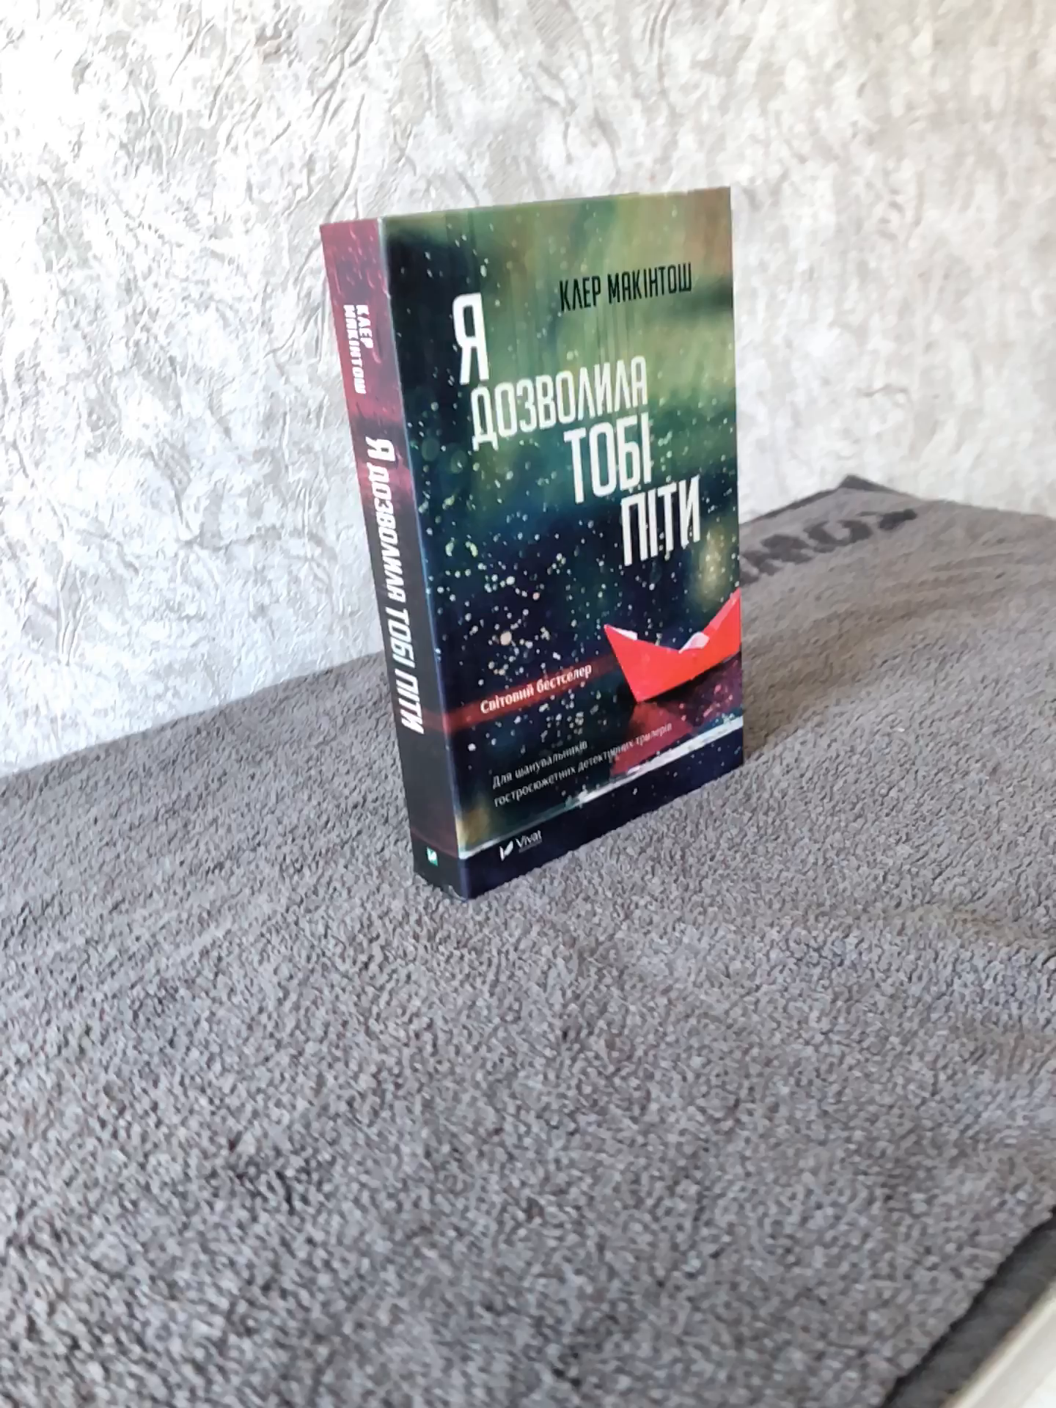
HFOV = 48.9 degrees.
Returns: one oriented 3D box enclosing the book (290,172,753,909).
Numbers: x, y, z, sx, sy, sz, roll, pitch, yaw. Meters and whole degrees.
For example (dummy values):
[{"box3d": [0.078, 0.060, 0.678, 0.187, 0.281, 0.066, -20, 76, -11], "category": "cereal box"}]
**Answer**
[{"box3d": [0.011, -0.057, 0.378, 0.140, 0.201, 0.044, -24, 29, -36], "category": "book"}]
